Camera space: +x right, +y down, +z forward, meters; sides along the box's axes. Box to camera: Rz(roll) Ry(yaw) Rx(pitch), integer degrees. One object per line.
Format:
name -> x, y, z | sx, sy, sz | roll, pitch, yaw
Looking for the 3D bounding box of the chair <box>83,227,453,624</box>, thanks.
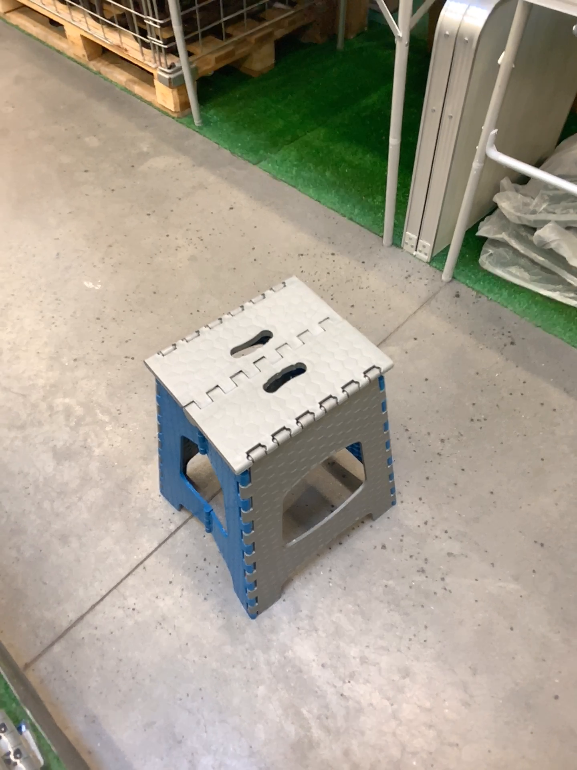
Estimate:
chair -> -0.030, 0.073, 0.932 | 0.350, 0.419, 0.341 | -33, 60, -21
